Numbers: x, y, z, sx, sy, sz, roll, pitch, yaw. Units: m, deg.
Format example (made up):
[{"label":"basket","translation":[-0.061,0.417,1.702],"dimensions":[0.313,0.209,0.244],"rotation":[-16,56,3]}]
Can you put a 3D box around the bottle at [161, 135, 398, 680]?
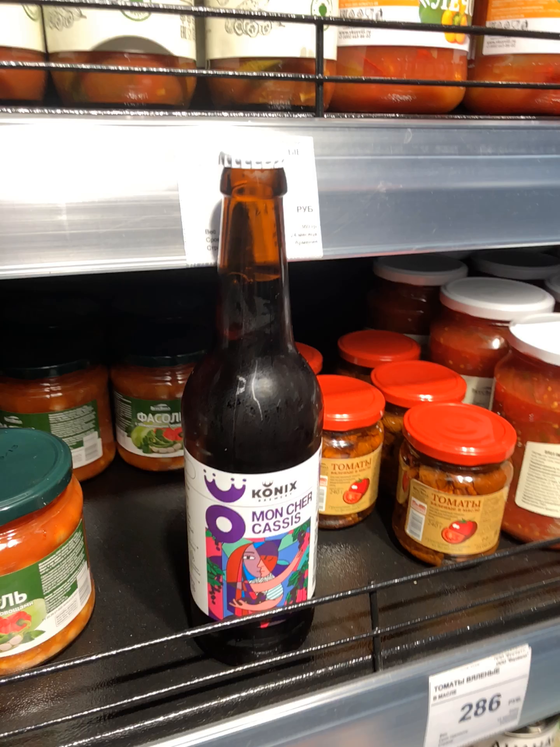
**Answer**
[{"label":"bottle","translation":[-0.009,0.020,0.290],"dimensions":[0.080,0.239,0.080],"rotation":[2,24,-1]}]
